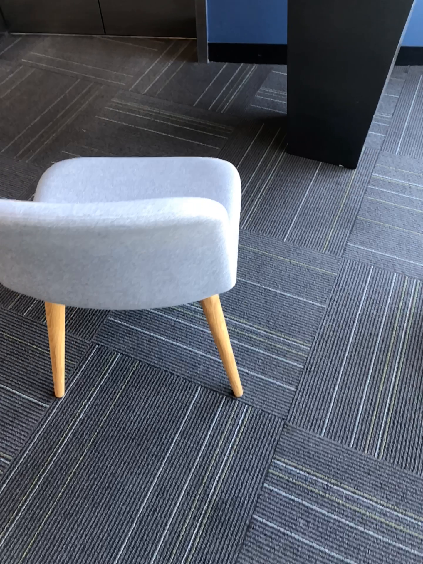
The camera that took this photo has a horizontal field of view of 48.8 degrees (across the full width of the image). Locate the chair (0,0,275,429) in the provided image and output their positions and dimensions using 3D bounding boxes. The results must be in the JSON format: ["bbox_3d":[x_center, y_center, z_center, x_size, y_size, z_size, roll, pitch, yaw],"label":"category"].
[{"bbox_3d":[-0.187,-0.122,1.033,0.560,0.847,0.612,2,56,3],"label":"chair"}]
